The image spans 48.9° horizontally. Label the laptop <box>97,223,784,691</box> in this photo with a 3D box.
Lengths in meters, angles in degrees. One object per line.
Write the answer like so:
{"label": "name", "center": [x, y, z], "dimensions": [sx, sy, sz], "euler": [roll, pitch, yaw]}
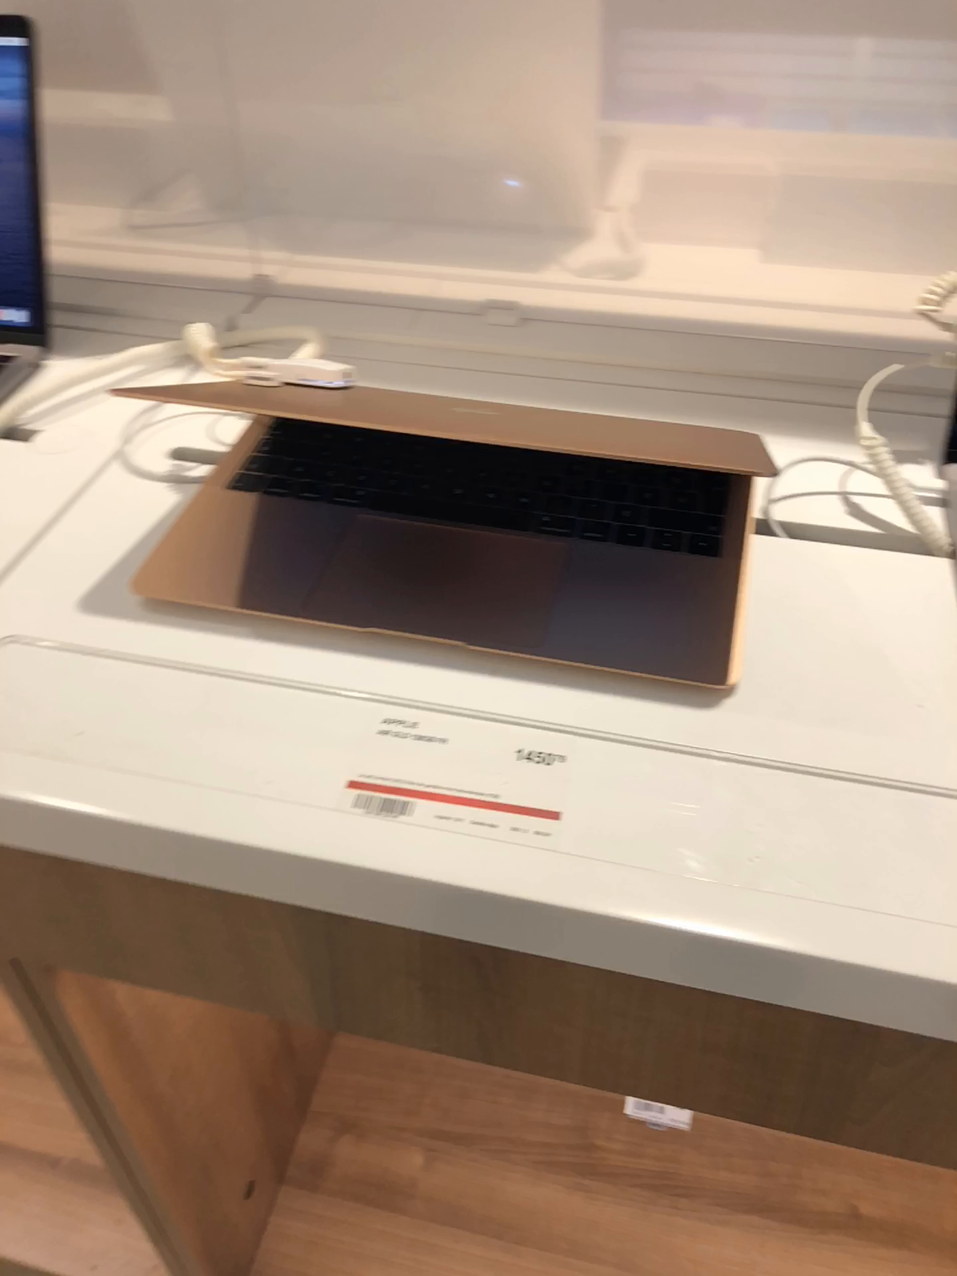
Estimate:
{"label": "laptop", "center": [-0.005, -0.114, 0.547], "dimensions": [0.298, 0.104, 0.226], "euler": [9, 41, 13]}
